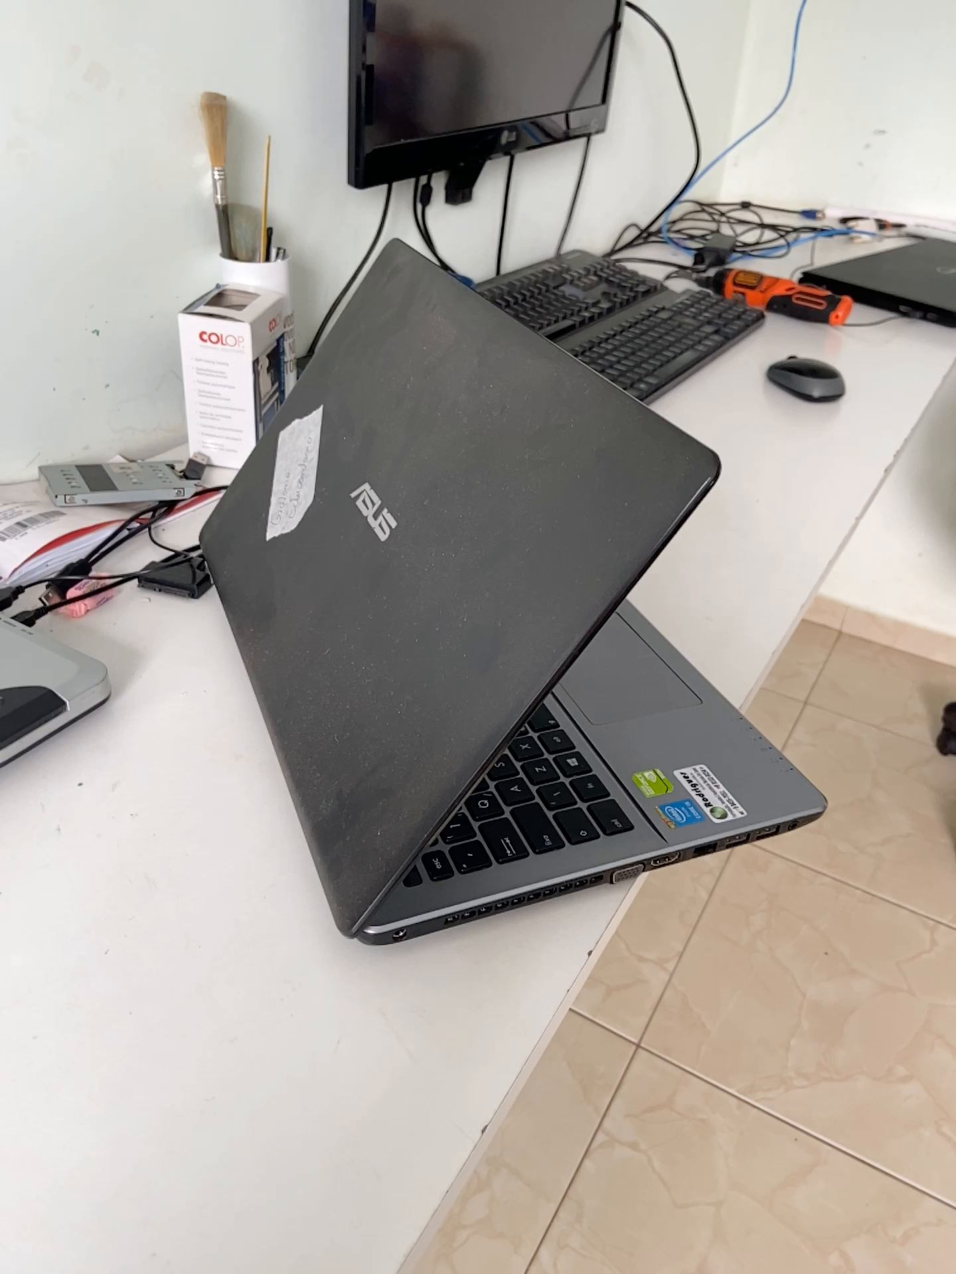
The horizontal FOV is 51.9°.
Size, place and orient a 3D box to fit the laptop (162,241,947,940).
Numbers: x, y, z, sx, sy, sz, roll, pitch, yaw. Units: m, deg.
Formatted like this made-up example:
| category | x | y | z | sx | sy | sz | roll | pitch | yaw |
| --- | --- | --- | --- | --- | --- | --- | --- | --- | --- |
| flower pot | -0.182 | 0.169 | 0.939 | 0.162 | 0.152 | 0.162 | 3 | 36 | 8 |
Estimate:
| category | x | y | z | sx | sy | sz | roll | pitch | yaw |
| --- | --- | --- | --- | --- | --- | --- | --- | --- | --- |
| laptop | -0.005 | -0.071 | 0.531 | 0.245 | 0.190 | 0.366 | -10 | 36 | -21 |
